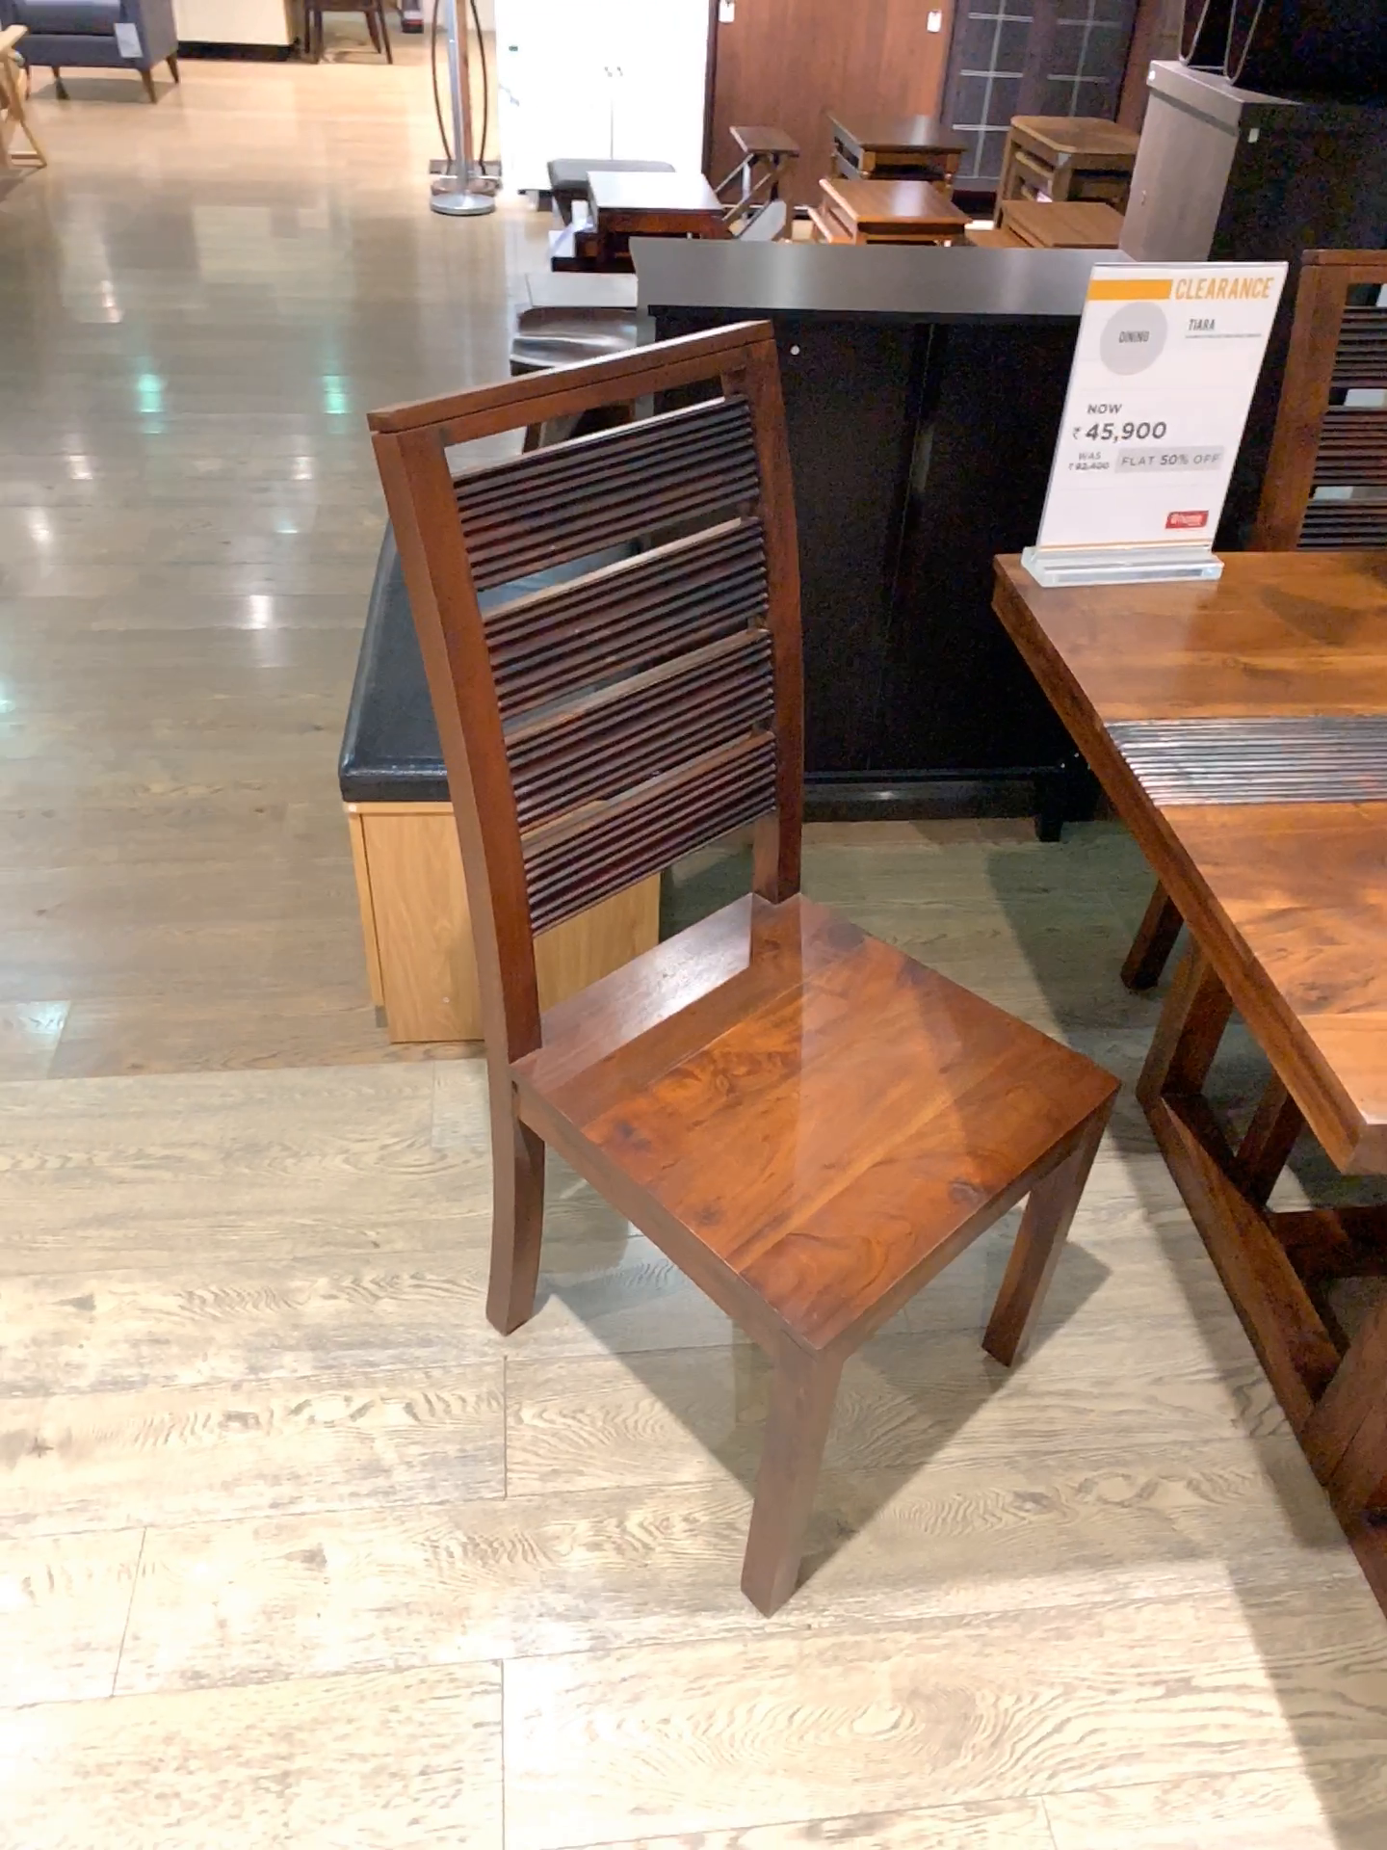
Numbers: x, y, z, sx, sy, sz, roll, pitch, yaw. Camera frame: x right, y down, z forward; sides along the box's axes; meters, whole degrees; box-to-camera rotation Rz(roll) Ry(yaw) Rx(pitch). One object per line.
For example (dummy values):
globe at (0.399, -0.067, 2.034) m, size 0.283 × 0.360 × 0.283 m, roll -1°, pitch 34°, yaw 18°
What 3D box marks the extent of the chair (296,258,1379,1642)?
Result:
chair at (0.080, 0.029, 1.269) m, size 0.531 × 0.996 × 0.521 m, roll 32°, pitch 46°, yaw 31°
